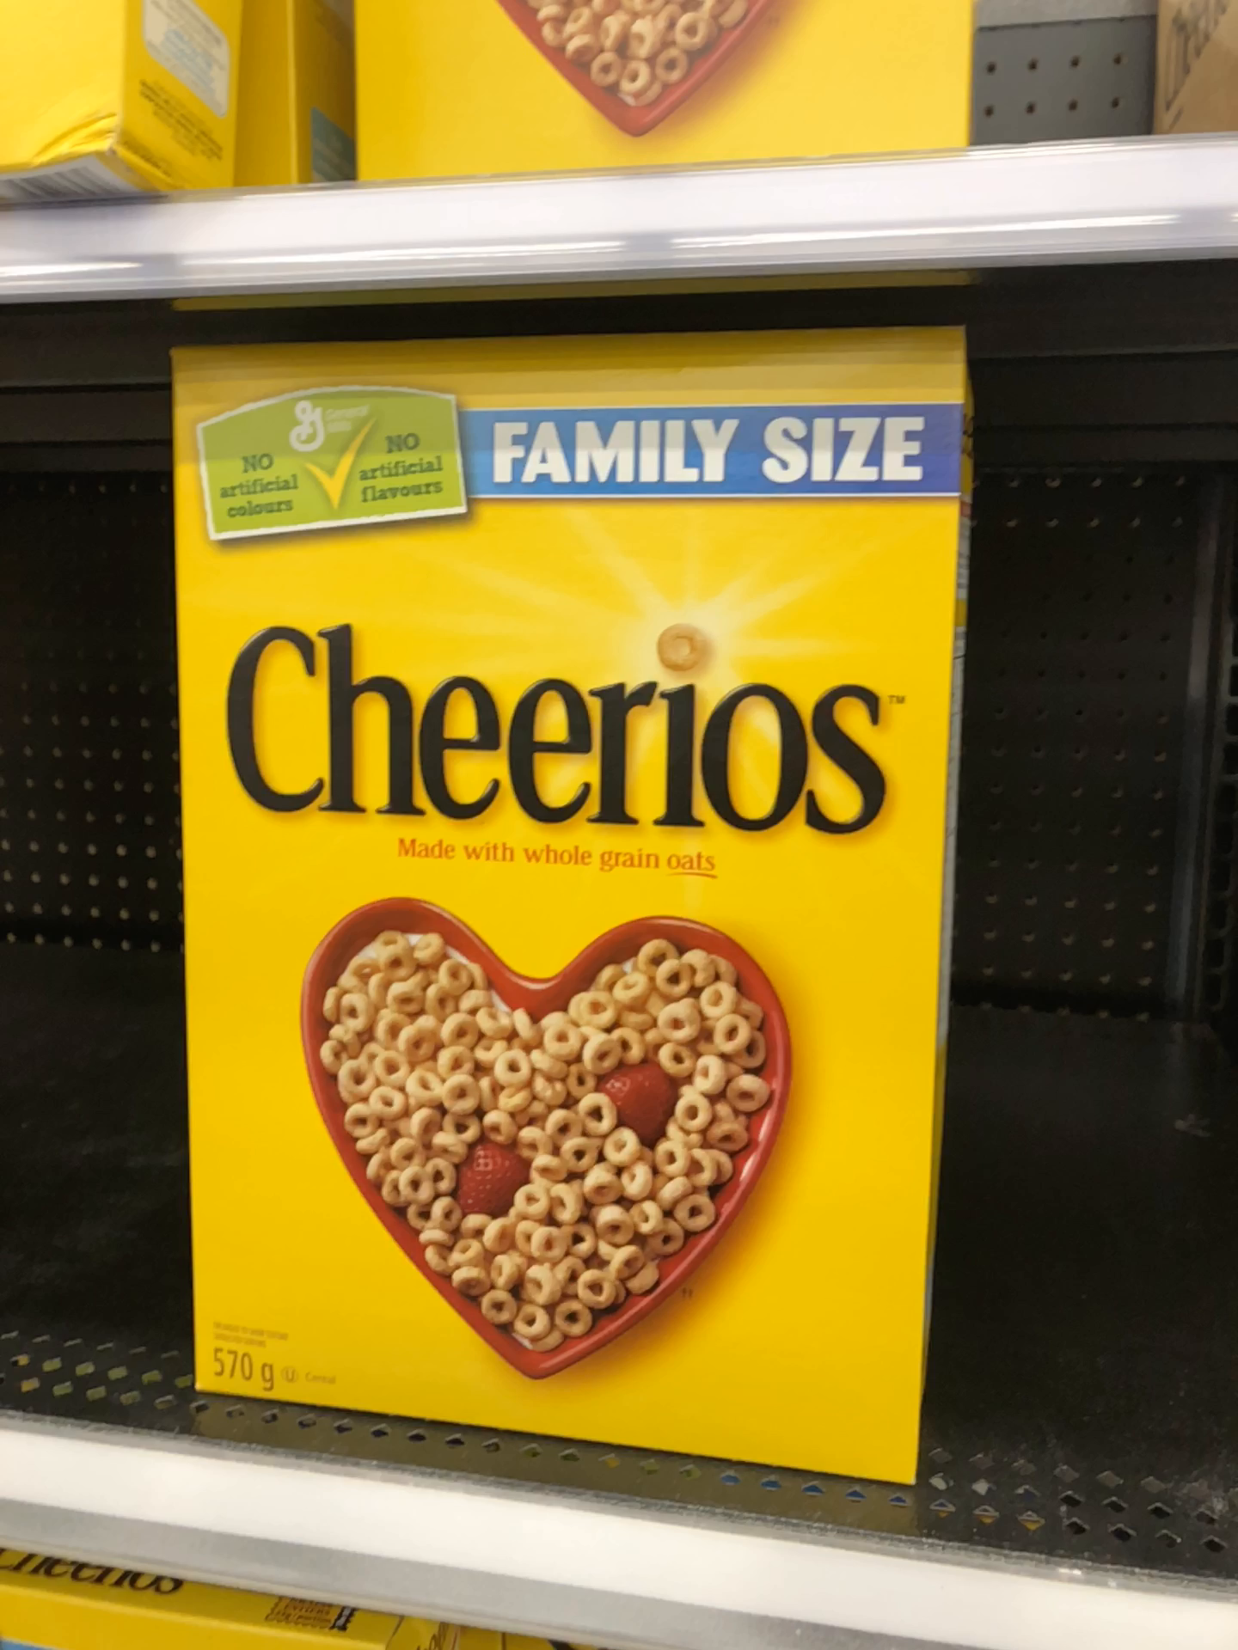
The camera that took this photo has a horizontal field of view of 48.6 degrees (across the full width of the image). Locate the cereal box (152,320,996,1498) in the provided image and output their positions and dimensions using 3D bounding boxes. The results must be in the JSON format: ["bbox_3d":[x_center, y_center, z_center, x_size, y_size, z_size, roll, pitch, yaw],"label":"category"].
[{"bbox_3d":[-0.015,0.021,0.450,0.240,0.339,0.090,3,9,10],"label":"cereal box"}]
